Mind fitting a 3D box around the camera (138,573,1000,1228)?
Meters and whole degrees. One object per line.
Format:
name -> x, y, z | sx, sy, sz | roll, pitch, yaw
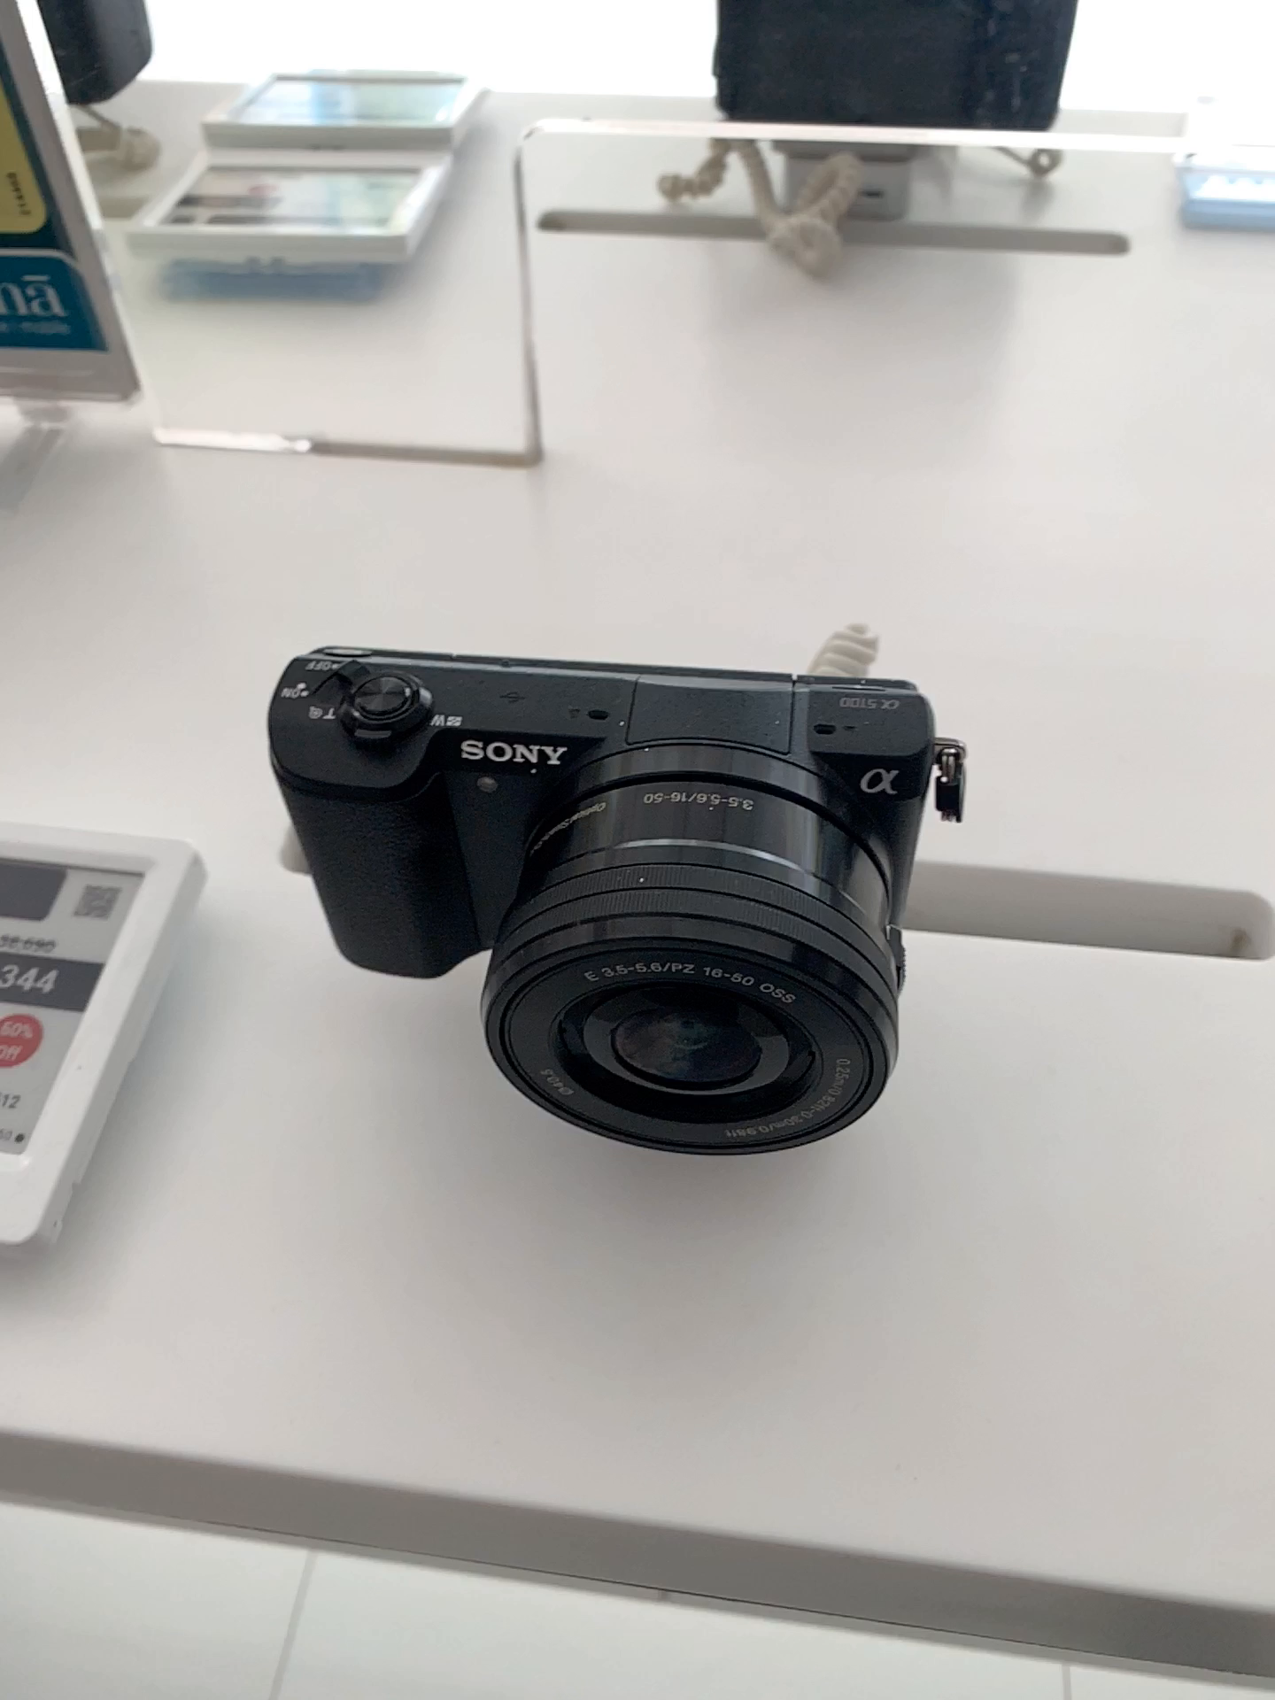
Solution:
camera -> -0.006, 0.009, 0.217 | 0.110, 0.080, 0.060 | 5, 49, 6
